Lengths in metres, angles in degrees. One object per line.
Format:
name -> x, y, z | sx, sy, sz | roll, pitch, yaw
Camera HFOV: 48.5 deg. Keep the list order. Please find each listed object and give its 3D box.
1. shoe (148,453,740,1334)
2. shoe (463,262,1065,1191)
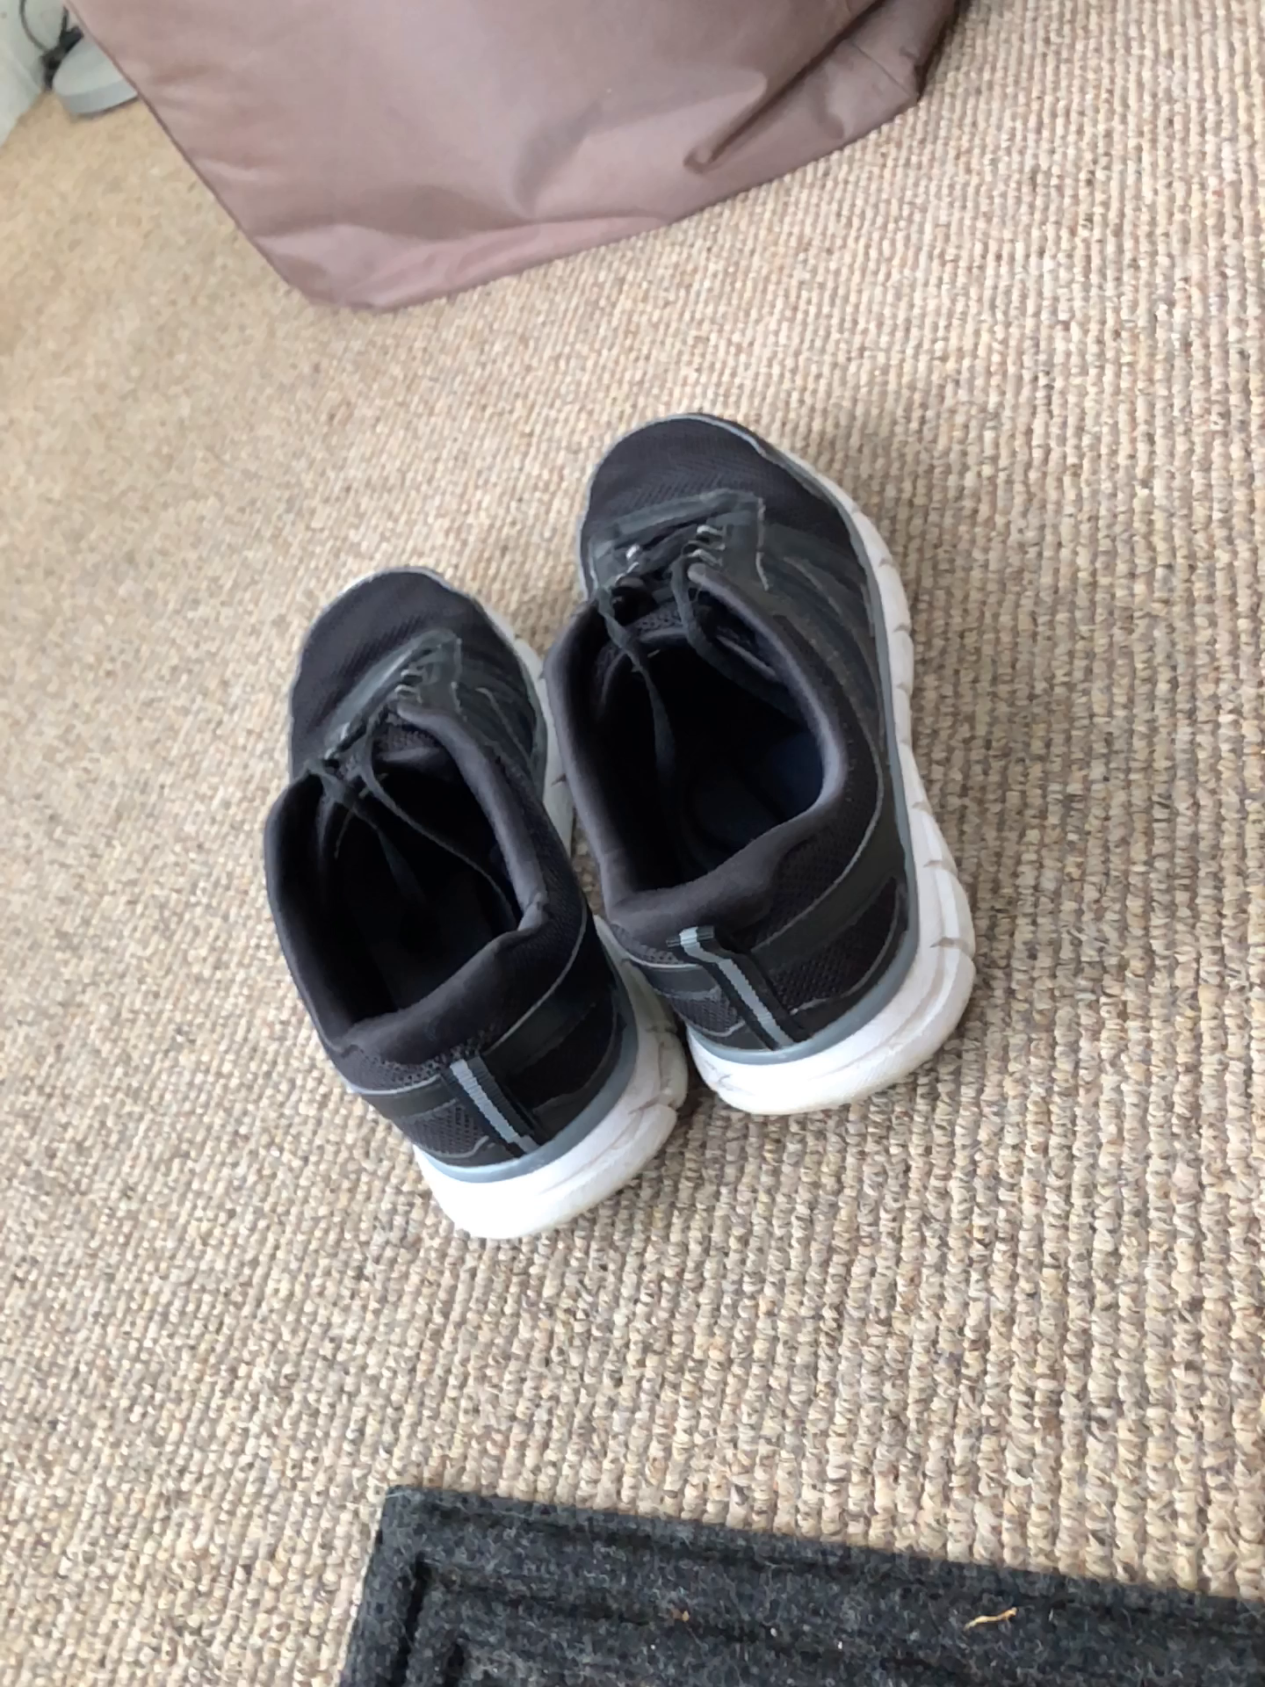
shoe -> -0.079, 0.000, 0.480 | 0.118, 0.100, 0.277 | -29, 46, 7
shoe -> 0.029, -0.051, 0.459 | 0.120, 0.110, 0.277 | -21, 47, 14
